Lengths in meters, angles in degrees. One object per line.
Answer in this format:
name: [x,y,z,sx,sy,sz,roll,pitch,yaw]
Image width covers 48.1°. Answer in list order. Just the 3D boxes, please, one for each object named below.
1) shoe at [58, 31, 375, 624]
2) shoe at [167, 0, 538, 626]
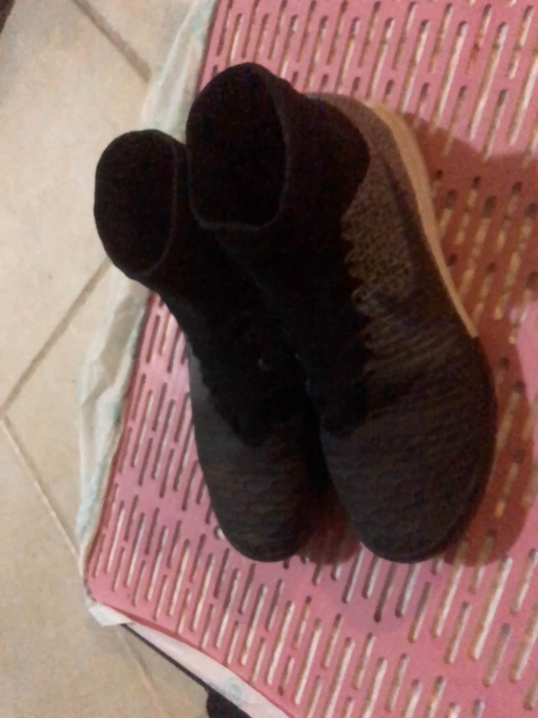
shoe: [-0.023,-0.012,0.362,0.100,0.150,0.270,-7,86,31]
shoe: [0.055,-0.023,0.314,0.100,0.150,0.260,-15,82,30]
